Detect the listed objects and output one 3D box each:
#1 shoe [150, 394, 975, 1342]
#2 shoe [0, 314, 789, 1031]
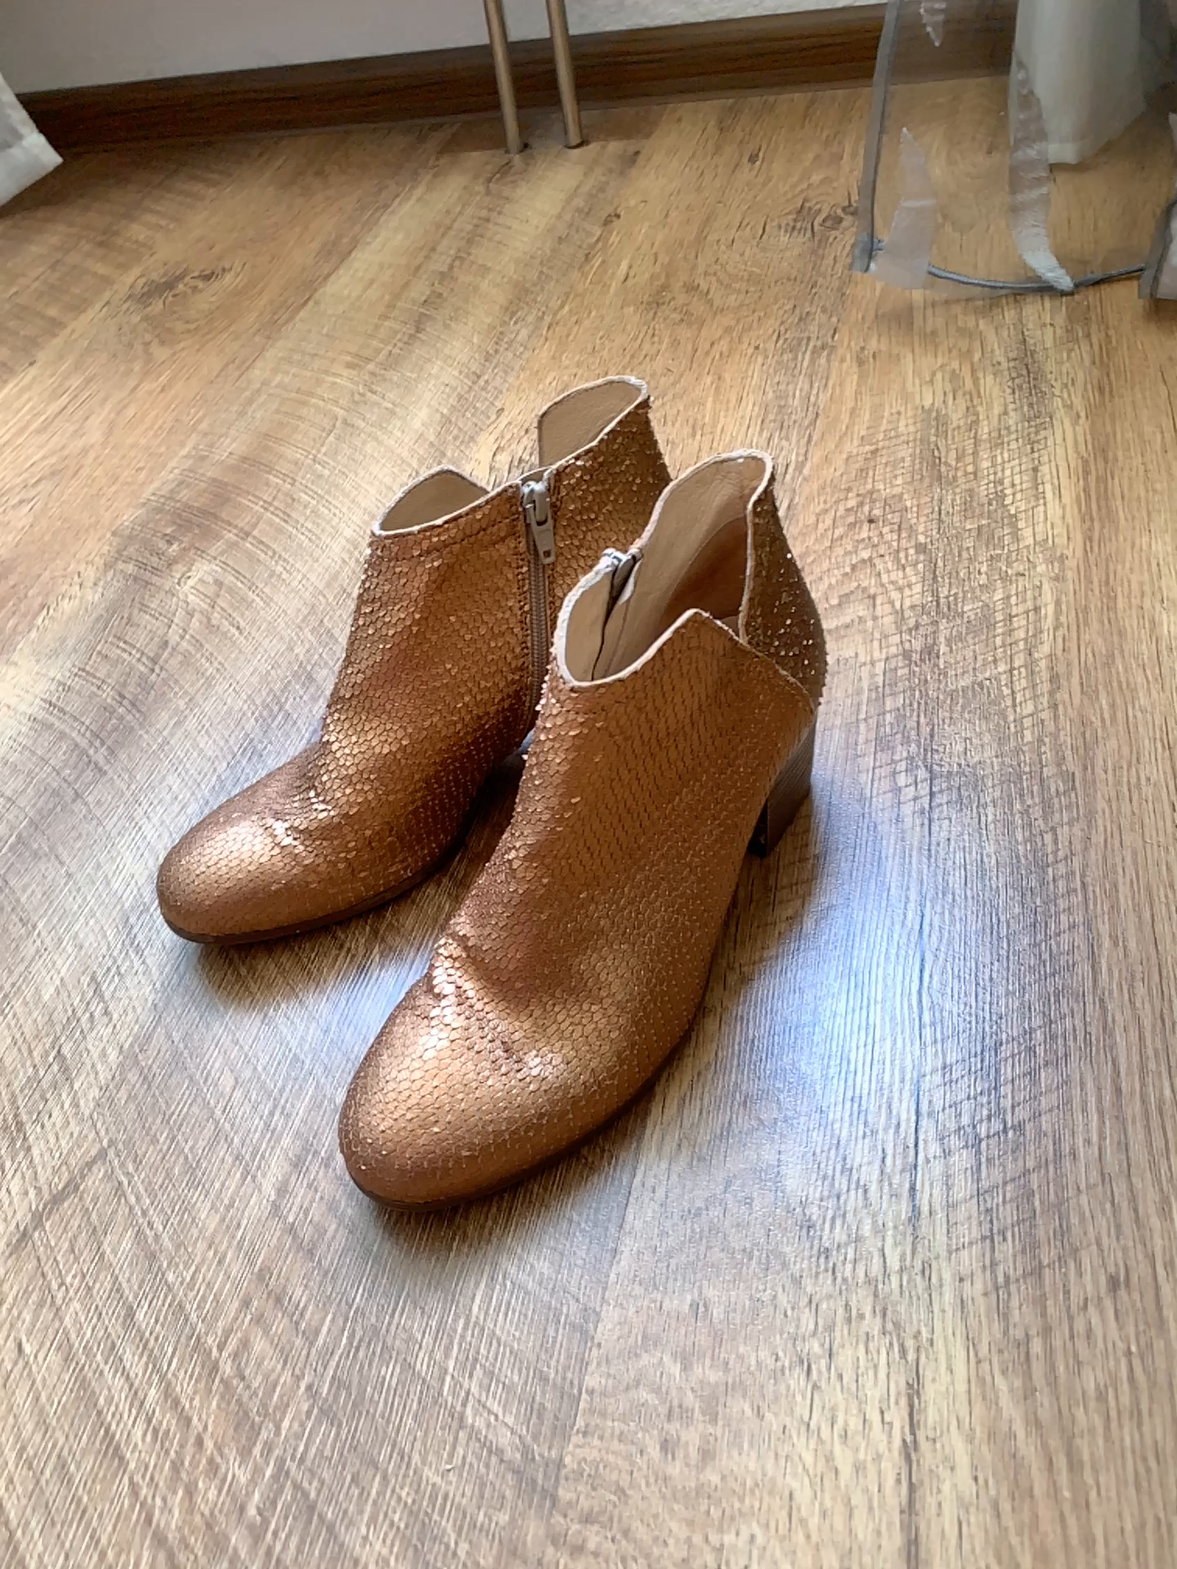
[{"bbox_3d":[0.015,0.012,0.333,0.080,0.129,0.220,24,55,31],"label":"shoe"},{"bbox_3d":[-0.051,-0.039,0.391,0.220,0.129,0.080,-28,47,-15],"label":"shoe"}]
